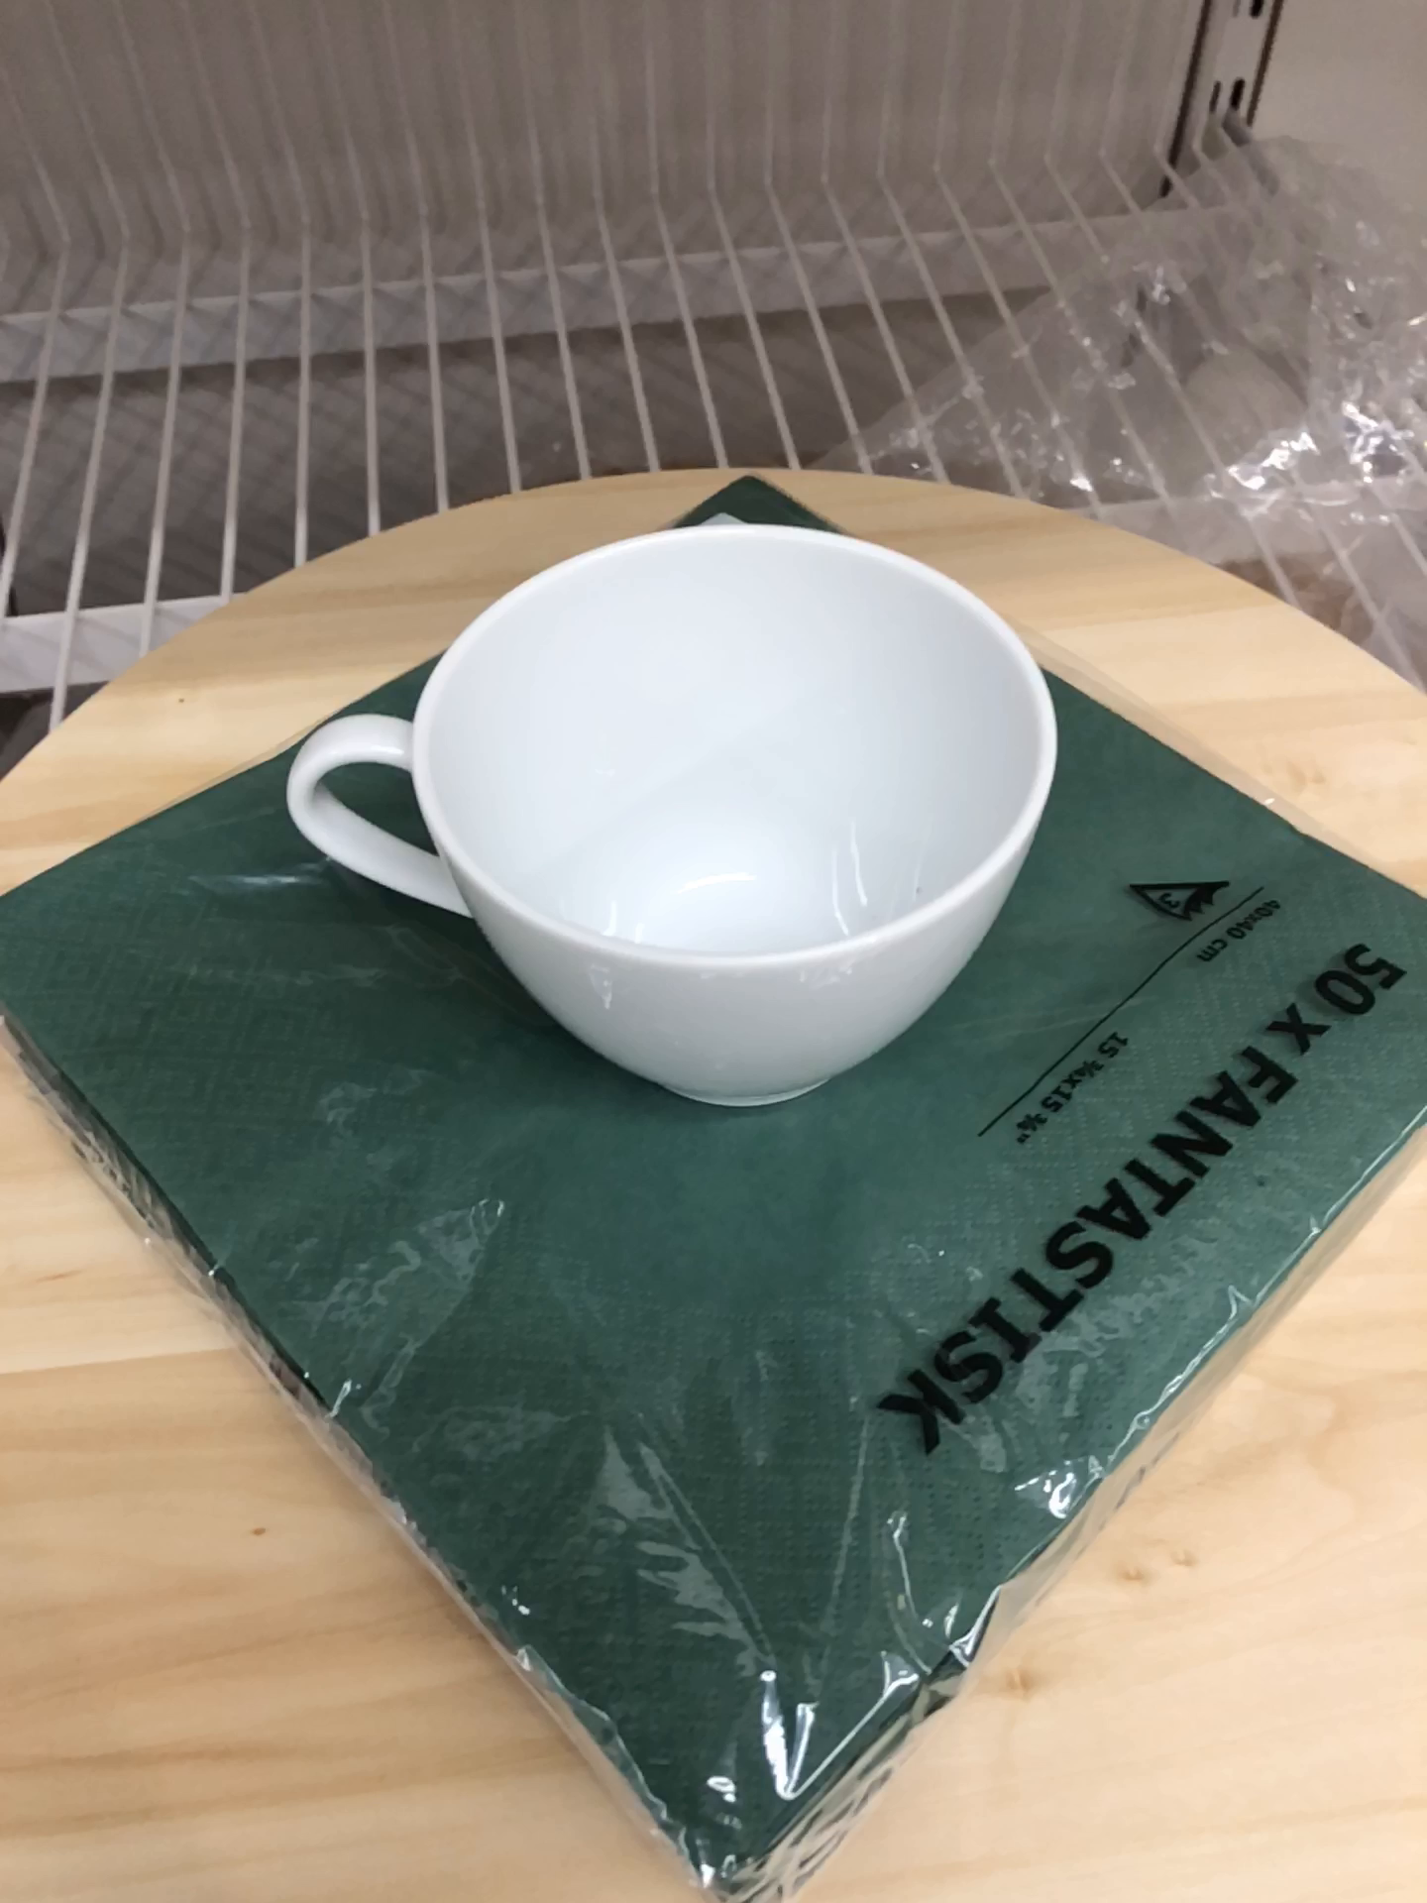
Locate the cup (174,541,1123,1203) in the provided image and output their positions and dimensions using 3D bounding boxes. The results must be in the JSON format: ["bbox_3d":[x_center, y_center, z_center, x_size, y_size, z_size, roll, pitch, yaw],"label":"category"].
[{"bbox_3d":[-0.007,-0.015,0.248,0.120,0.050,0.090,1,52,2],"label":"cup"}]
